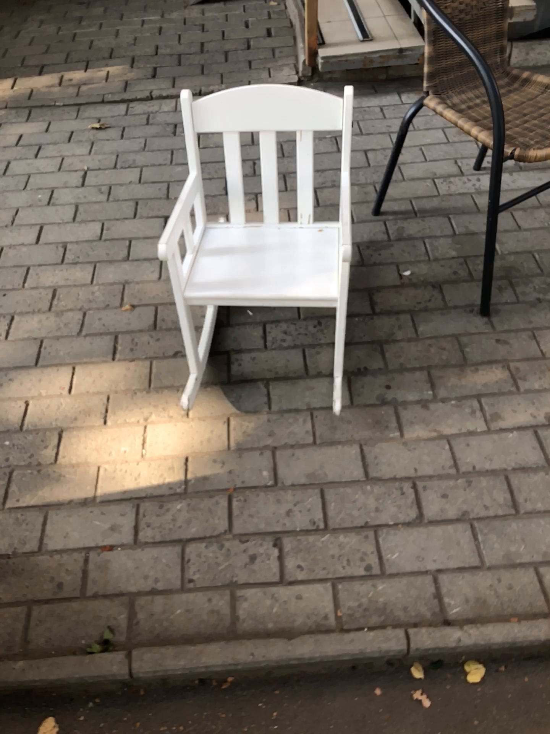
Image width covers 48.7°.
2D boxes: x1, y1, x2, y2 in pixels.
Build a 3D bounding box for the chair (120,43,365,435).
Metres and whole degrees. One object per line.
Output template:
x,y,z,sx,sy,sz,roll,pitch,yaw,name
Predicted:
-0.009,-0.306,1.370,0.380,0.518,0.733,2,48,6,chair
